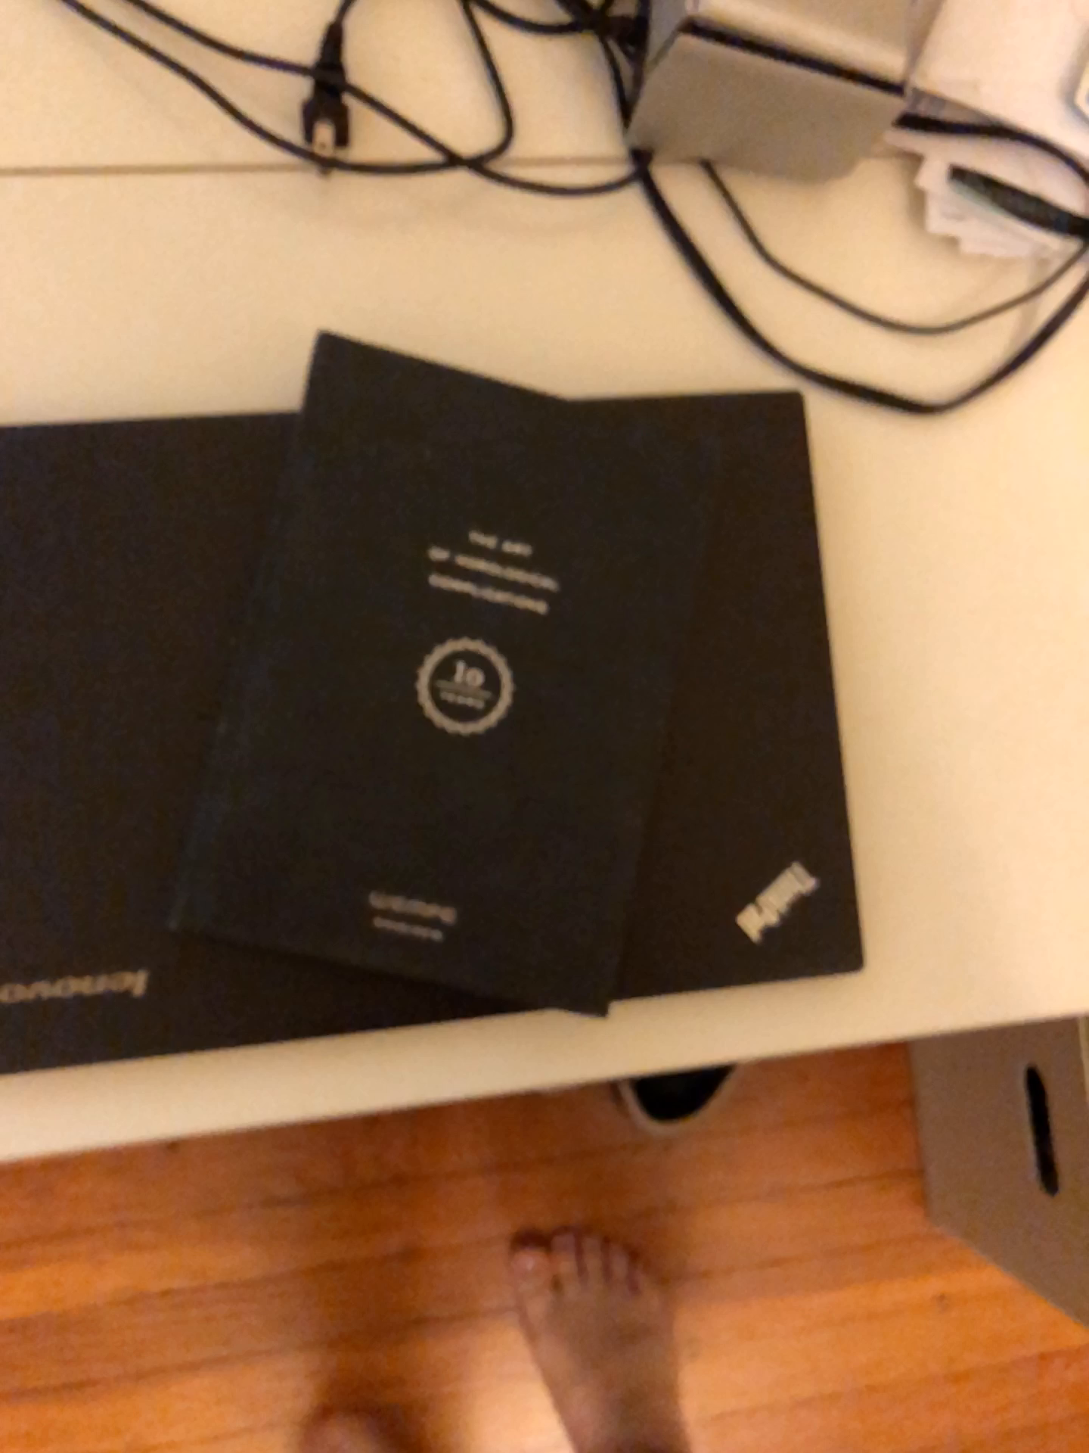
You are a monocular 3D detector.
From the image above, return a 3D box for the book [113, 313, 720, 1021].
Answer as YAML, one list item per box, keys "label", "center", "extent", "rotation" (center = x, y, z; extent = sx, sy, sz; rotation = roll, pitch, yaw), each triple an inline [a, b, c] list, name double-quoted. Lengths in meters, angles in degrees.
- label: "book"
  center: [-0.041, -0.021, 0.448]
  extent: [0.170, 0.030, 0.220]
  rotation: [13, 83, -7]
